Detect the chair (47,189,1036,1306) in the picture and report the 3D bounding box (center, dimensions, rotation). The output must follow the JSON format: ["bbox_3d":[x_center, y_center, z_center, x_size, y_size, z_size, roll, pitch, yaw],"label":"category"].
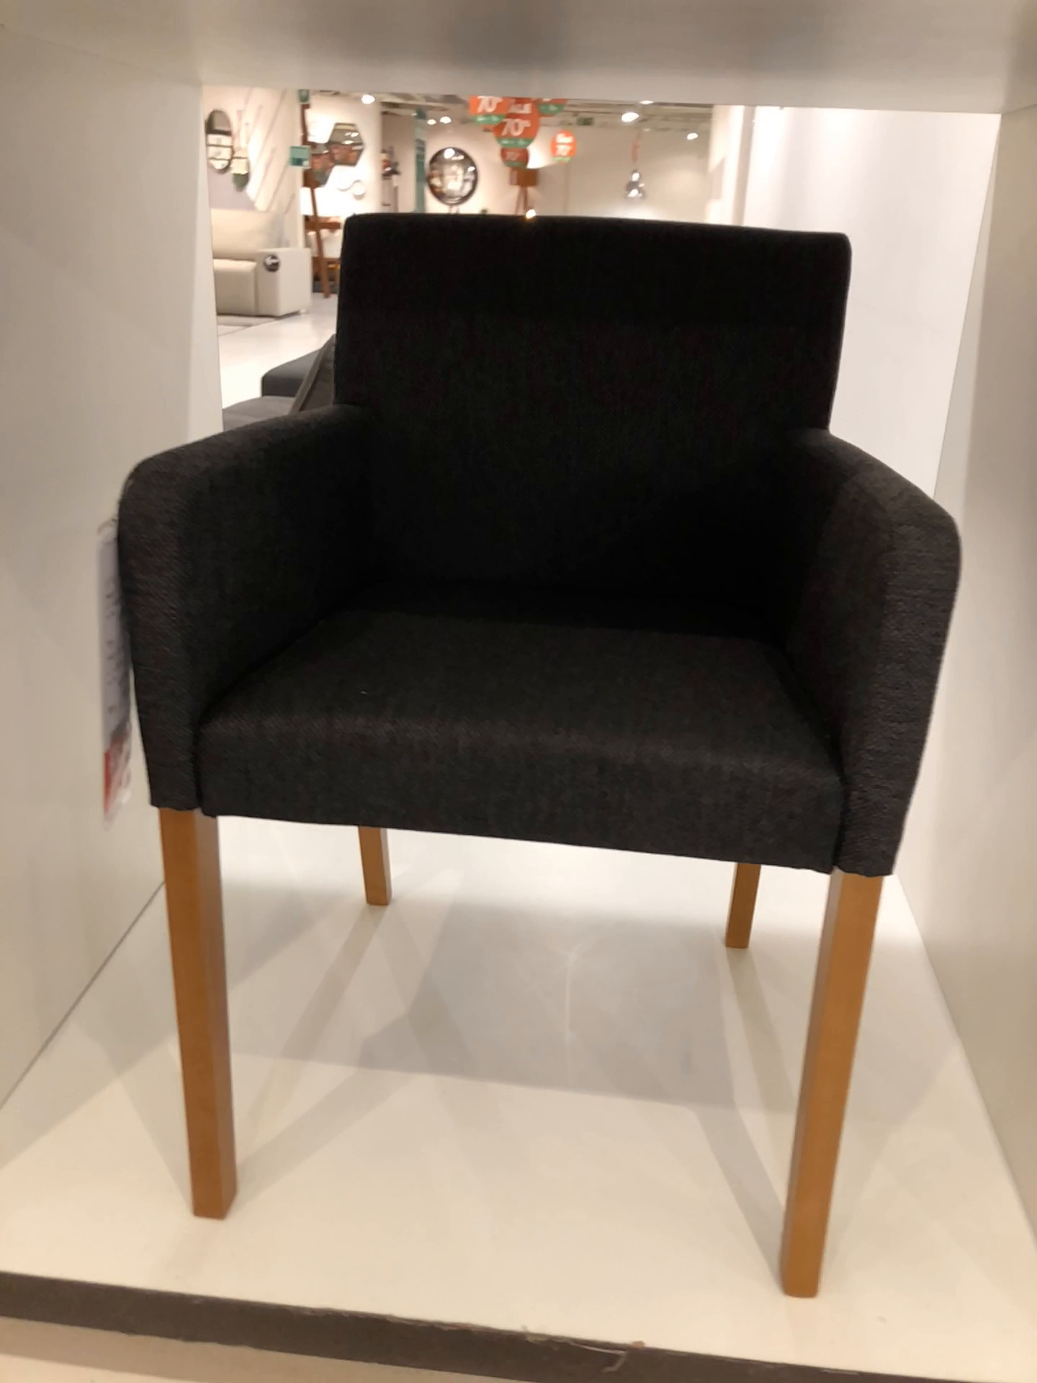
[{"bbox_3d":[0.014,-0.006,1.046,0.560,0.795,0.564,5,22,4],"label":"chair"}]
